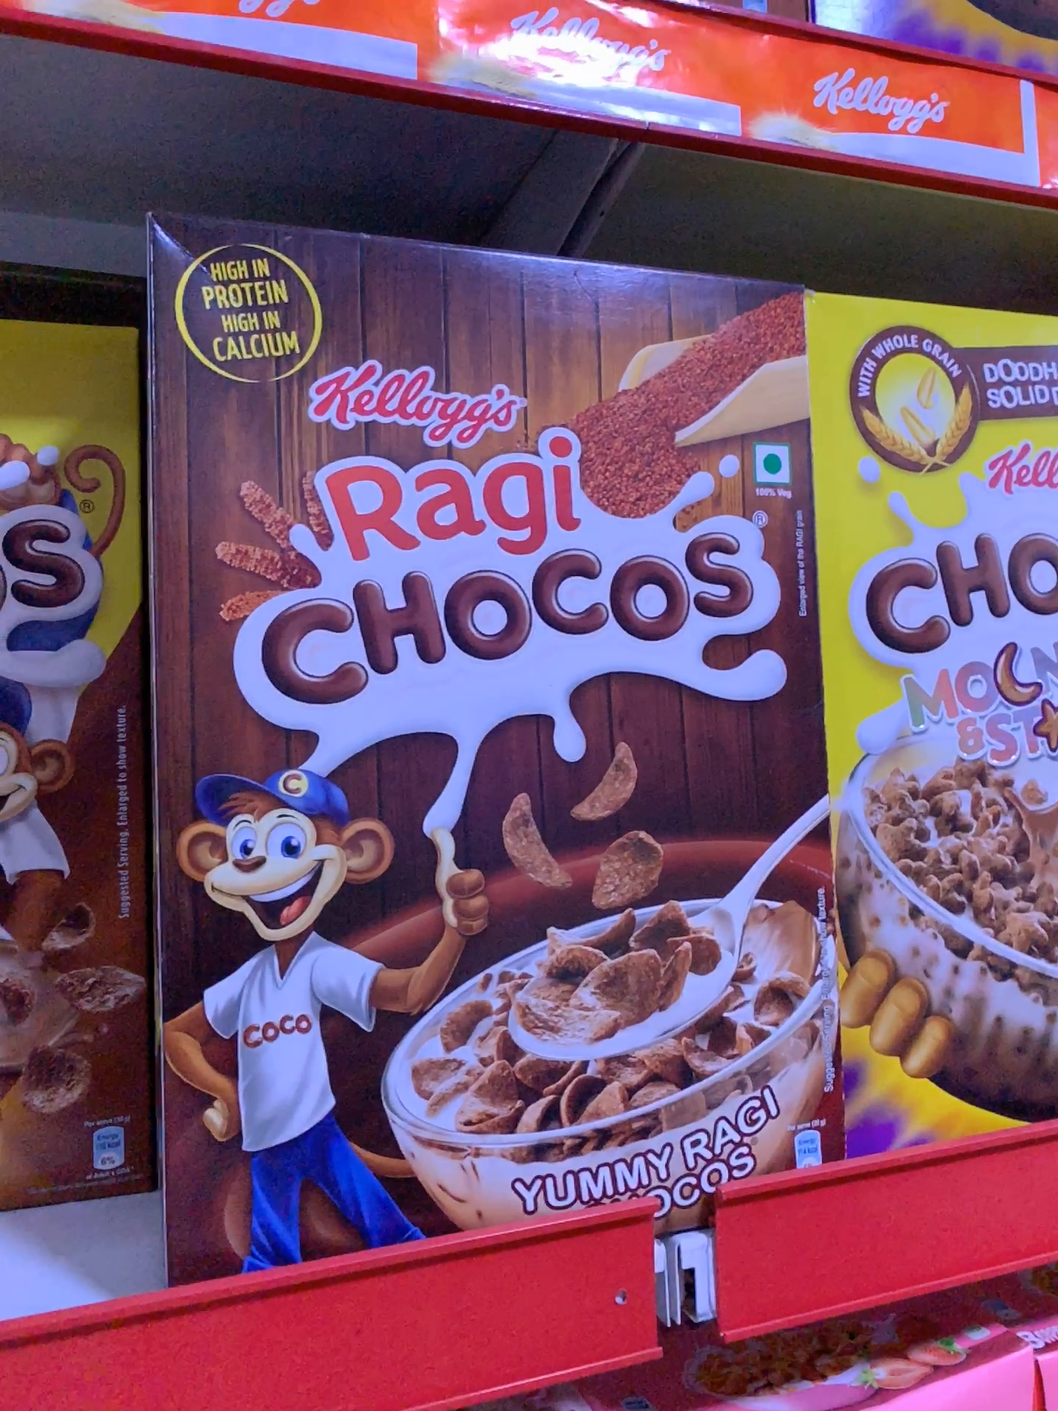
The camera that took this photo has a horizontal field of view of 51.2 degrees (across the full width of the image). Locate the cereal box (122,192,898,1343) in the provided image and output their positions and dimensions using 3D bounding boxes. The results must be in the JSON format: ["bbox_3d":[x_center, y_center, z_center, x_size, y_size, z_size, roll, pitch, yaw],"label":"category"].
[{"bbox_3d":[-0.006,0.009,0.286,0.180,0.240,0.060,-2,-2,-18],"label":"cereal box"}]
